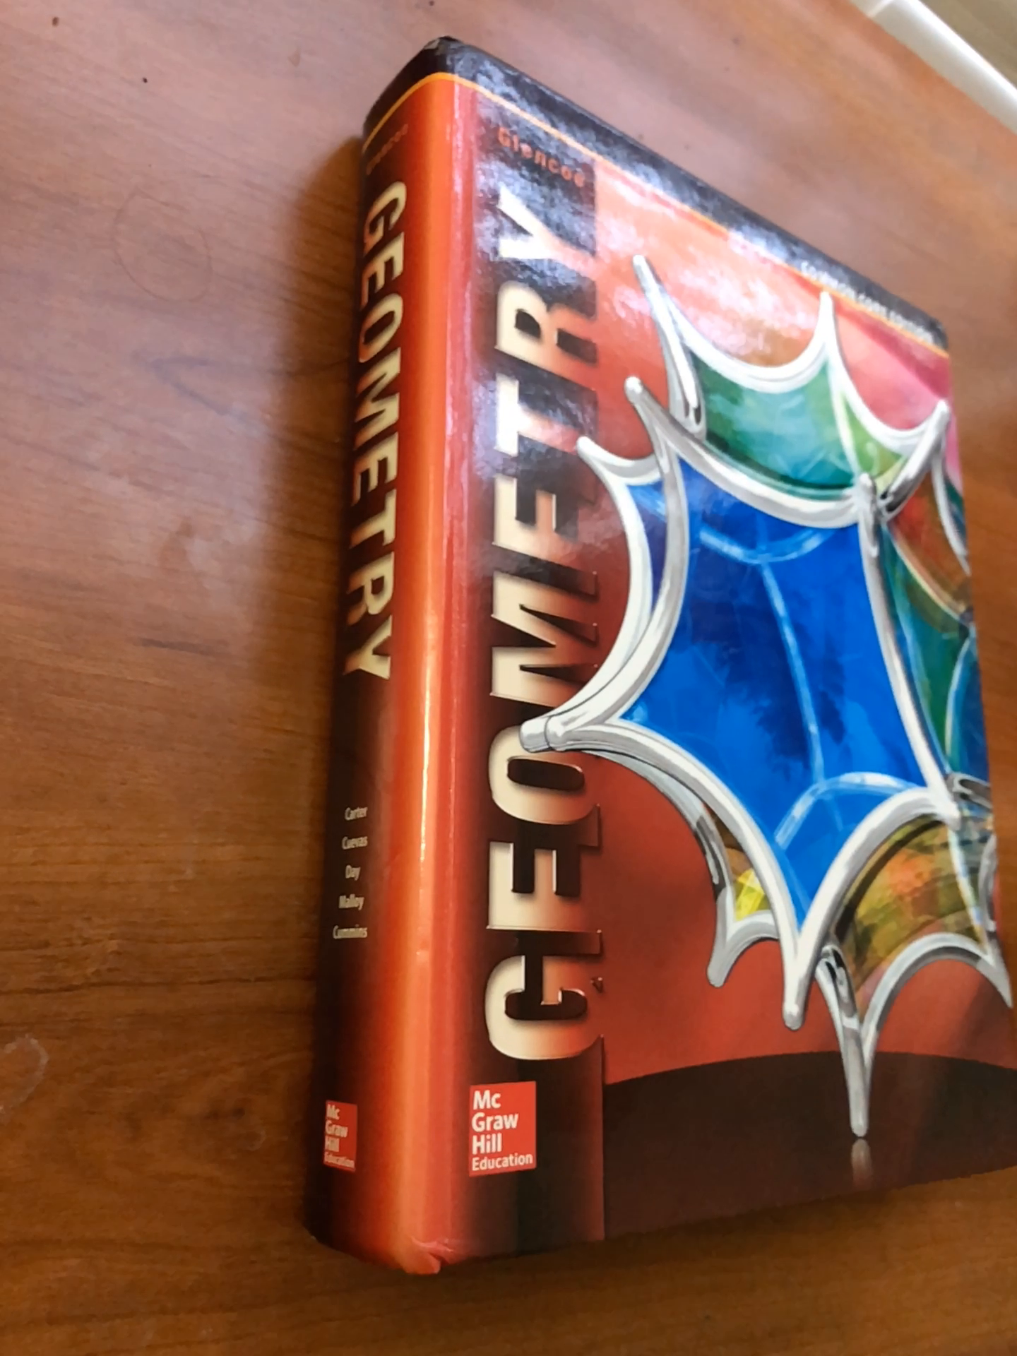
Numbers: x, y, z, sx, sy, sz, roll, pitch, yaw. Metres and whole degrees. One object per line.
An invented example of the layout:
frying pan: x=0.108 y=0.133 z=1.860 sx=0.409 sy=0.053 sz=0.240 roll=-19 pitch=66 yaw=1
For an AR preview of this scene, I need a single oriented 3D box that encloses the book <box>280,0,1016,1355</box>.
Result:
book: x=0.059 y=0.001 z=0.330 sx=0.230 sy=0.050 sz=0.310 roll=12 pitch=71 yaw=-35
